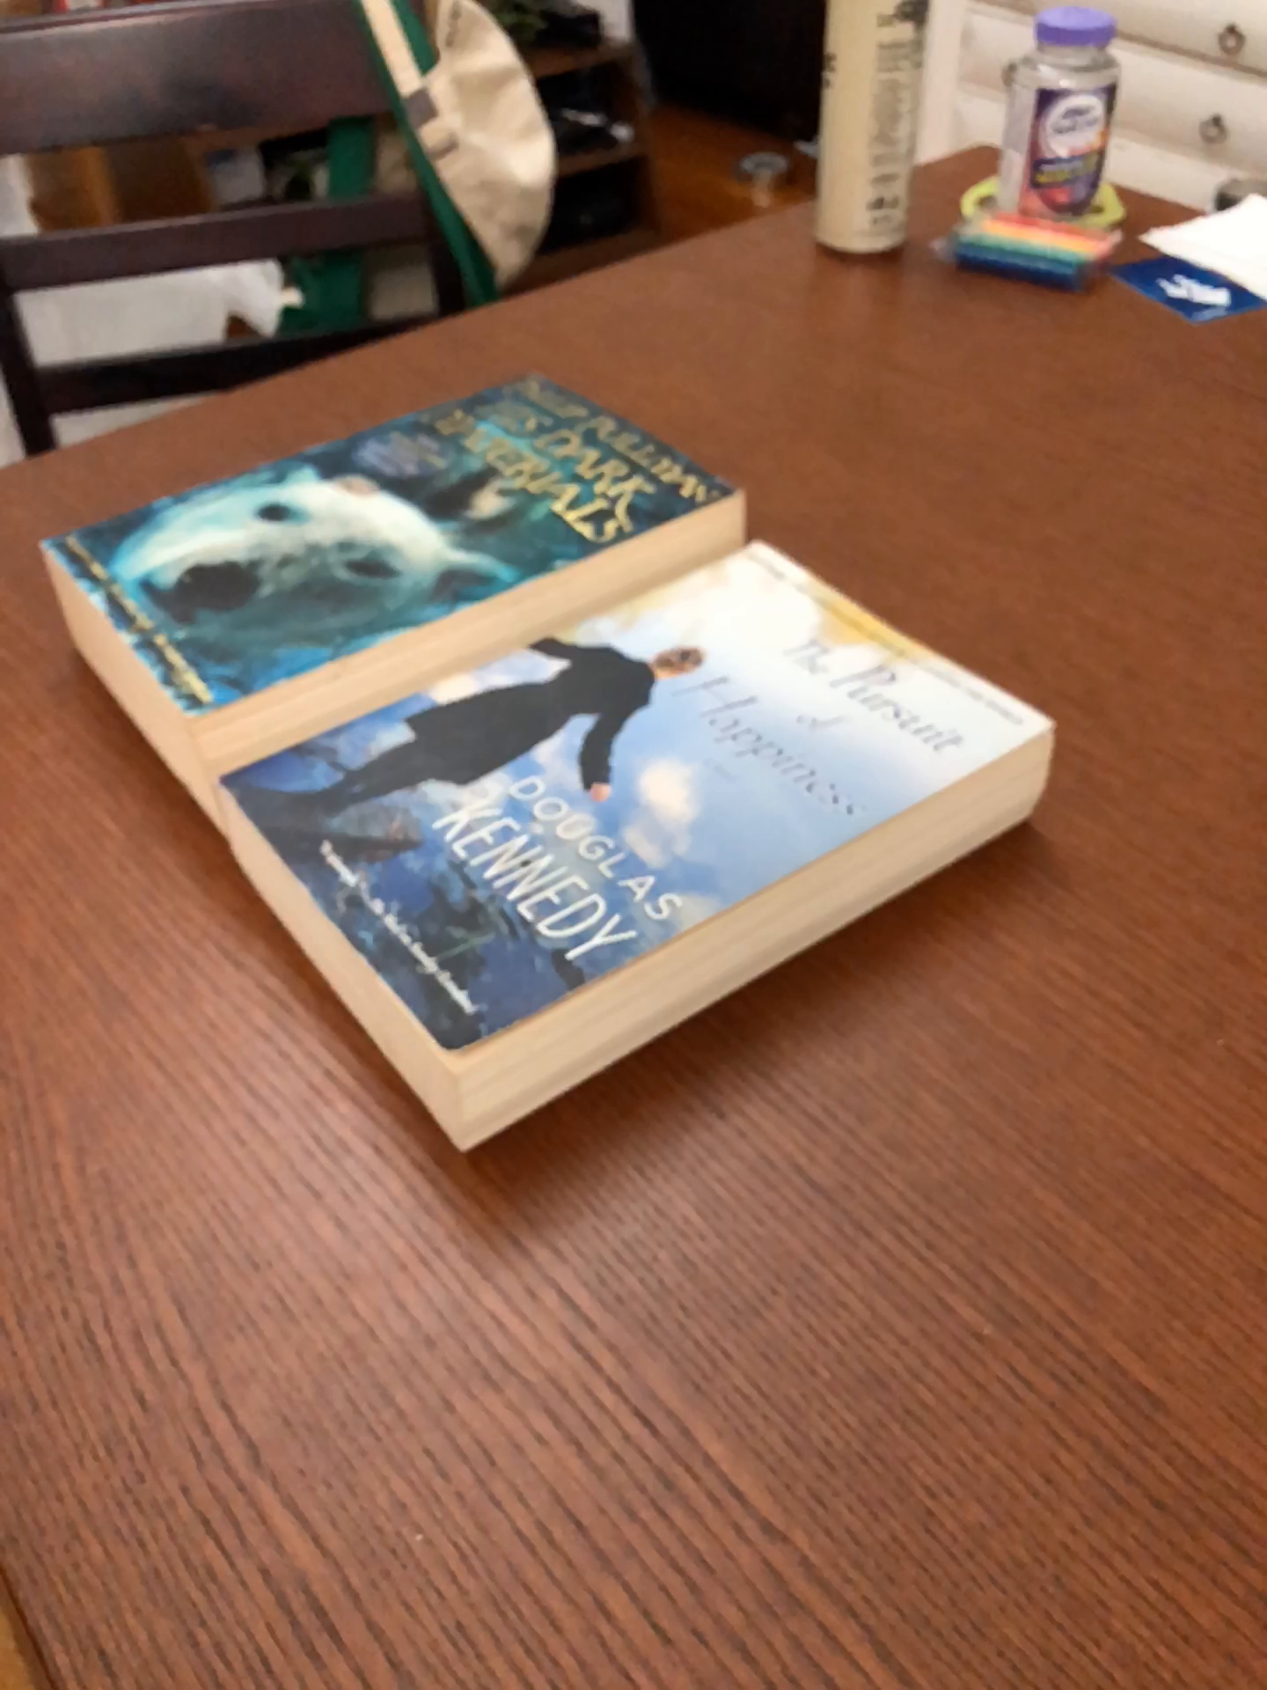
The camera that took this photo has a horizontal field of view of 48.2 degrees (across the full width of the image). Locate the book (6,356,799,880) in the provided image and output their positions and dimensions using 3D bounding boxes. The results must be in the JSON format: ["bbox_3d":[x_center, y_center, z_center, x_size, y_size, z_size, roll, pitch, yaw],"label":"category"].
[{"bbox_3d":[-0.089,-0.107,0.565,0.251,0.050,0.181,-27,48,-24],"label":"book"}]

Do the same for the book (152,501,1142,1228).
[{"bbox_3d":[0.004,-0.018,0.454,0.251,0.040,0.181,-27,48,-24],"label":"book"}]
